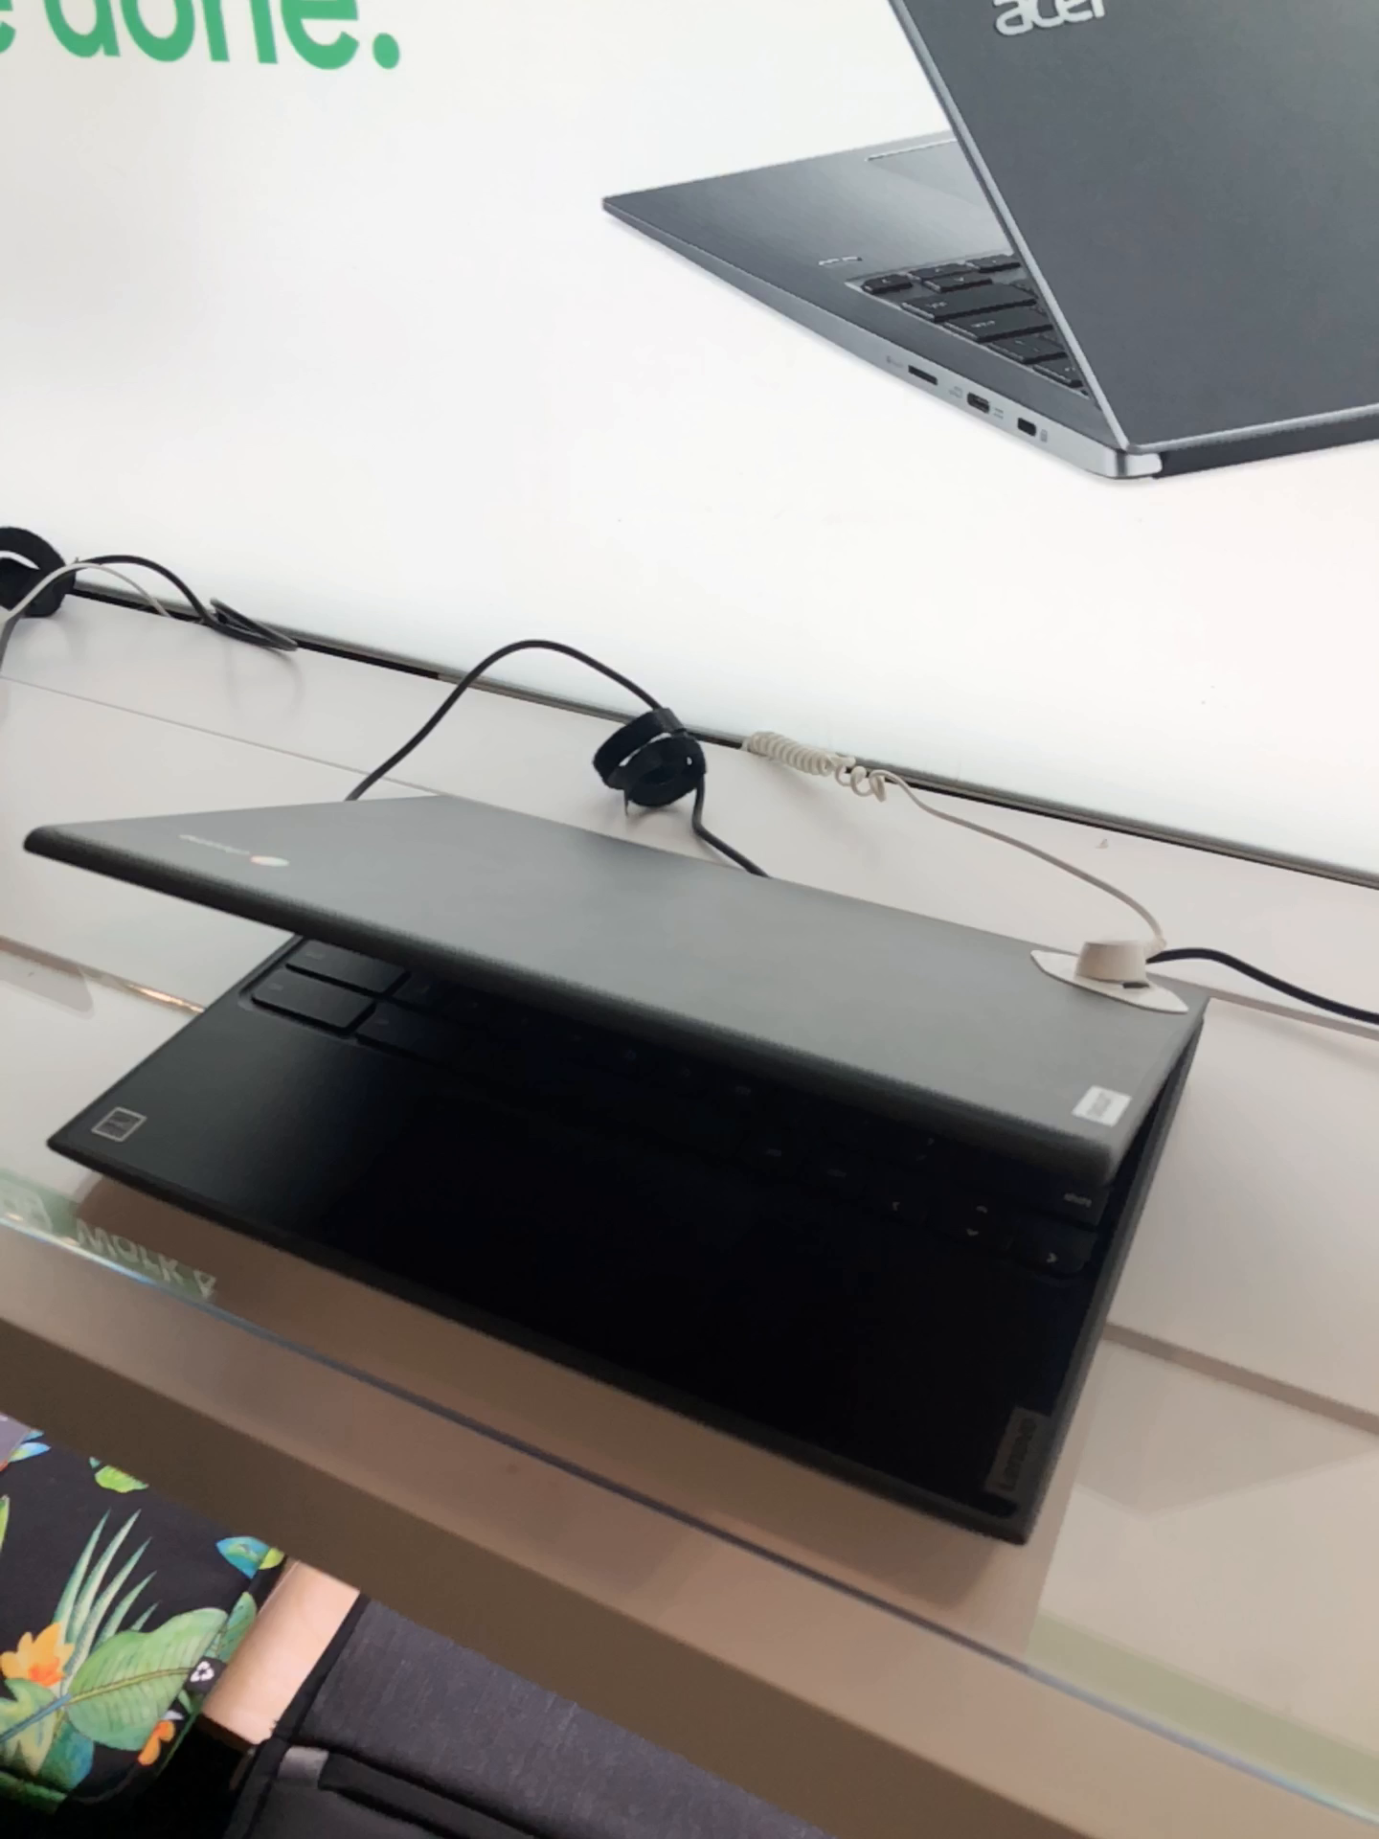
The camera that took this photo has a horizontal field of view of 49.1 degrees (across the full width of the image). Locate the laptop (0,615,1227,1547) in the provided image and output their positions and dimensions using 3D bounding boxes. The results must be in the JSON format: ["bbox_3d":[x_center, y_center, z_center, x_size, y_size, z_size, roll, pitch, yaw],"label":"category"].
[{"bbox_3d":[-0.018,0.012,0.415,0.277,0.072,0.186,15,41,24],"label":"laptop"}]
